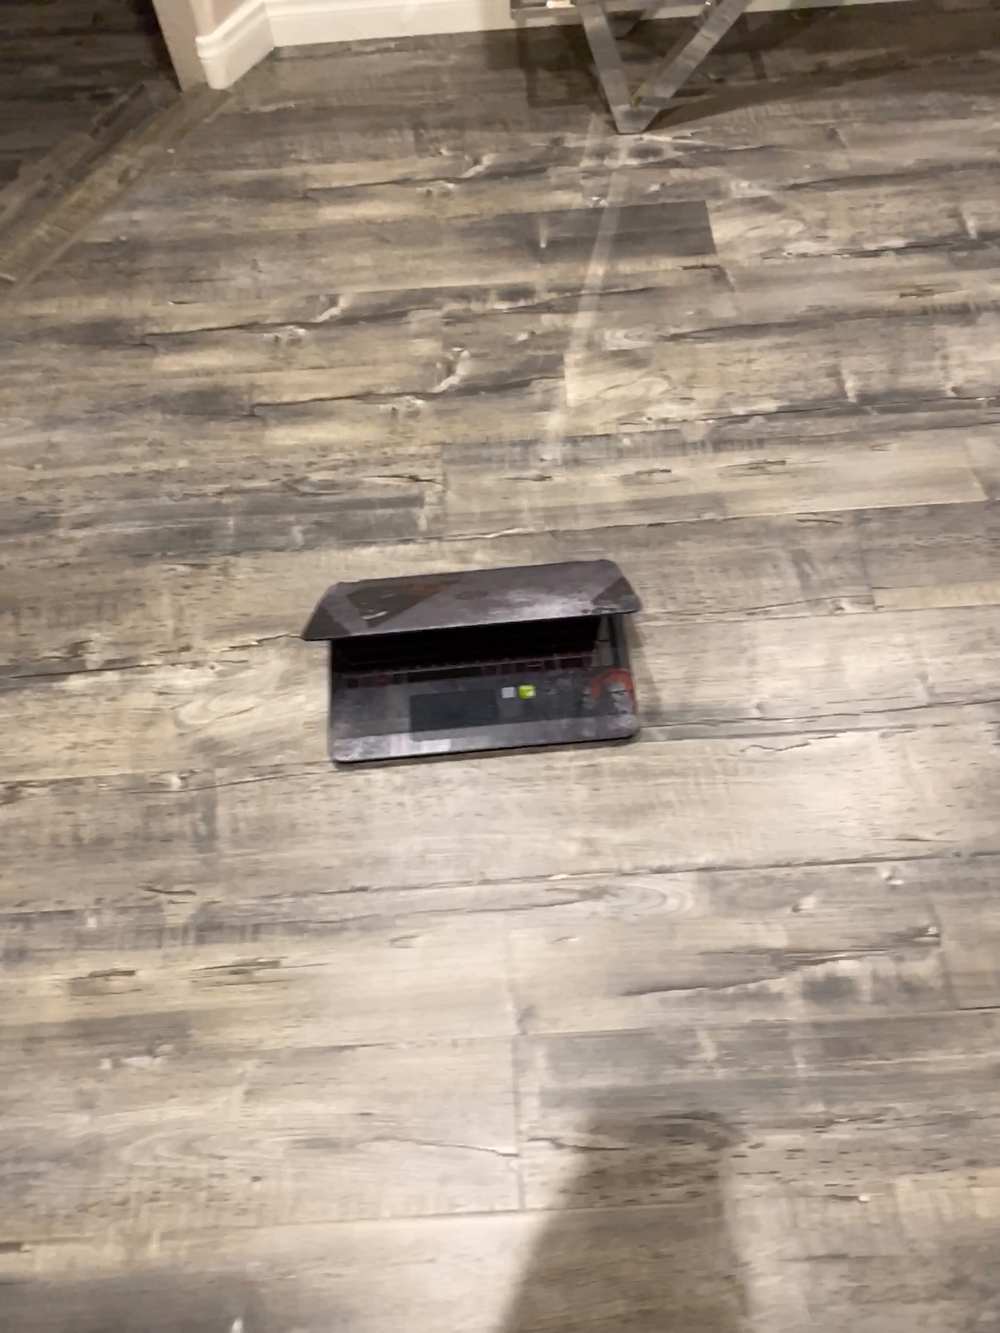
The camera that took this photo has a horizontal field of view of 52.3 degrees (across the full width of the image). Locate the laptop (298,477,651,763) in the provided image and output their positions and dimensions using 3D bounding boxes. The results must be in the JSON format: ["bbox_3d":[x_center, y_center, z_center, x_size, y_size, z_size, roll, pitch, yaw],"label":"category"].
[{"bbox_3d":[-0.033,-0.053,1.212,0.374,0.177,0.251,-5,61,0],"label":"laptop"}]
